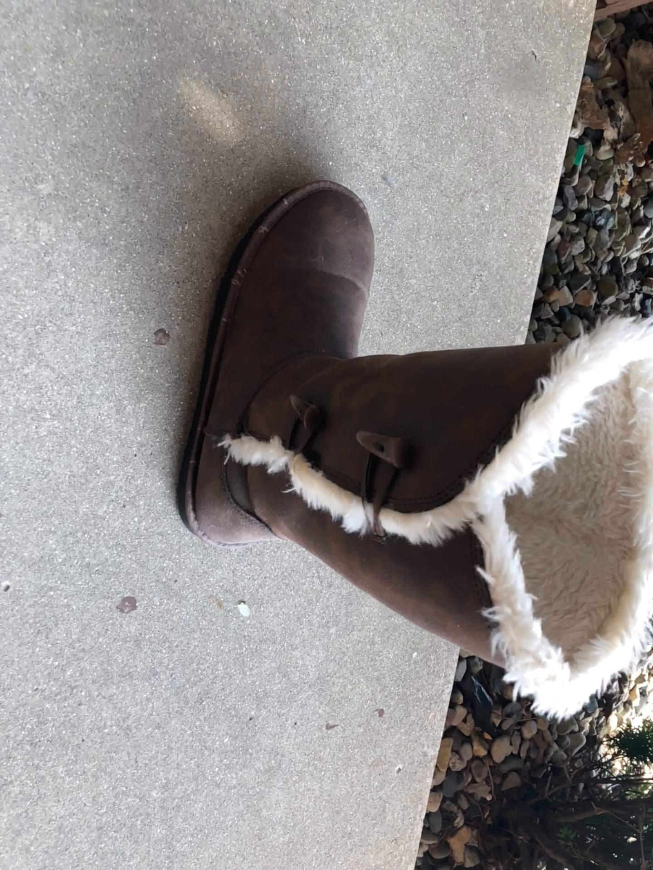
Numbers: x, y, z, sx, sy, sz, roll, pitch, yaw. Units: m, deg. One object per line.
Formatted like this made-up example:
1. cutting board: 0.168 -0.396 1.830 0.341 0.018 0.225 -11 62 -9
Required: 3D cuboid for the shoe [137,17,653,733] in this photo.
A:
1. shoe: 0.055 -0.033 0.430 0.121 0.318 0.280 24 81 -38
